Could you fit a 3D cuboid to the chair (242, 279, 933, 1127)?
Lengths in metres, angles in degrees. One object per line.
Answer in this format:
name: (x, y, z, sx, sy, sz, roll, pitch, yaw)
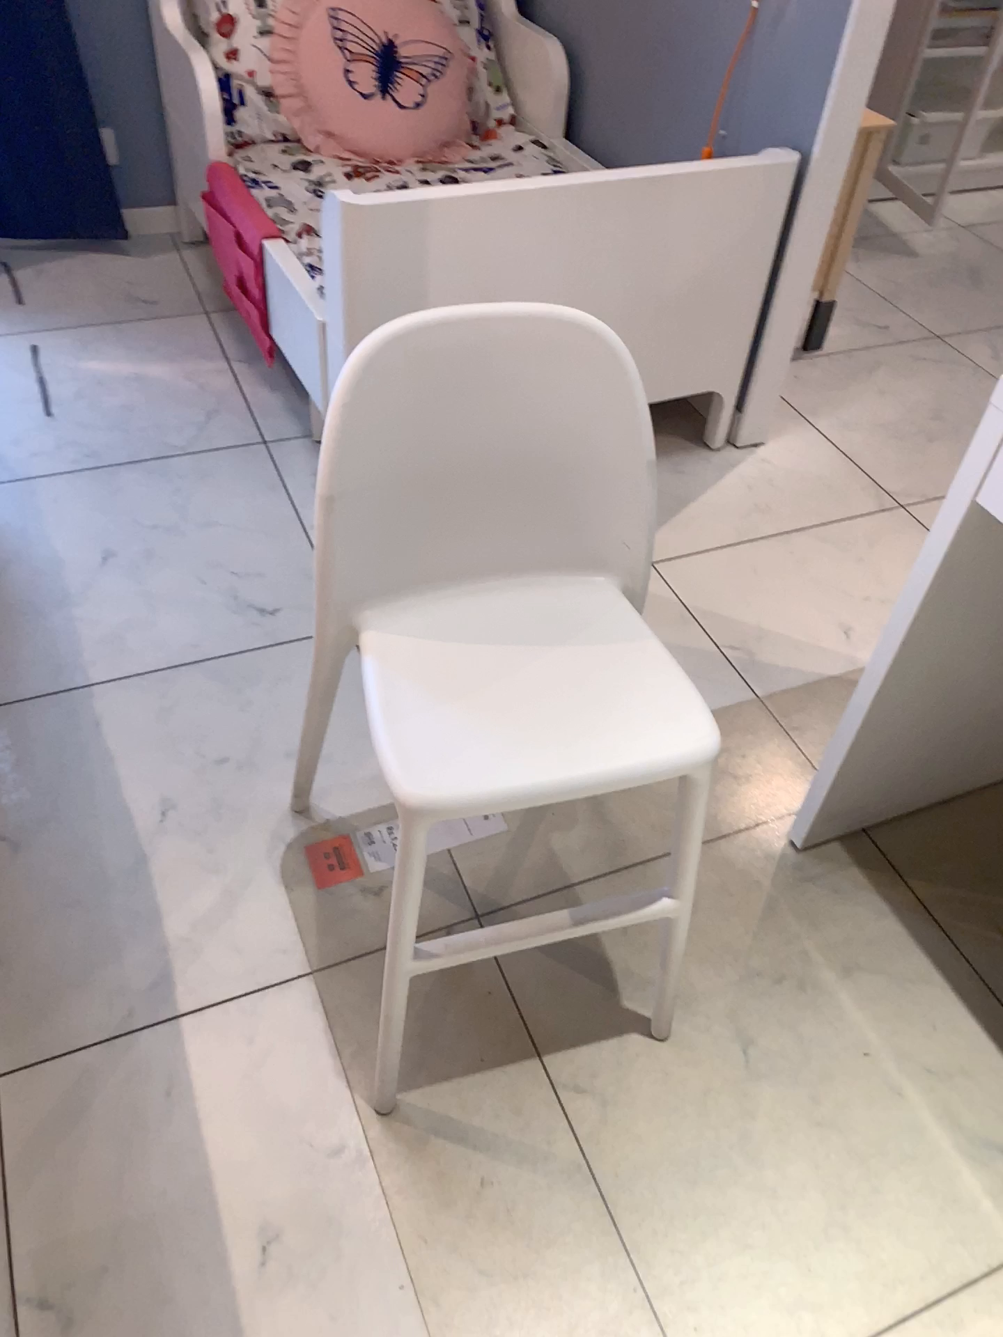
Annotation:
chair: (0.007, 0.046, 1.084, 0.430, 0.697, 0.502, -9, 46, -14)
